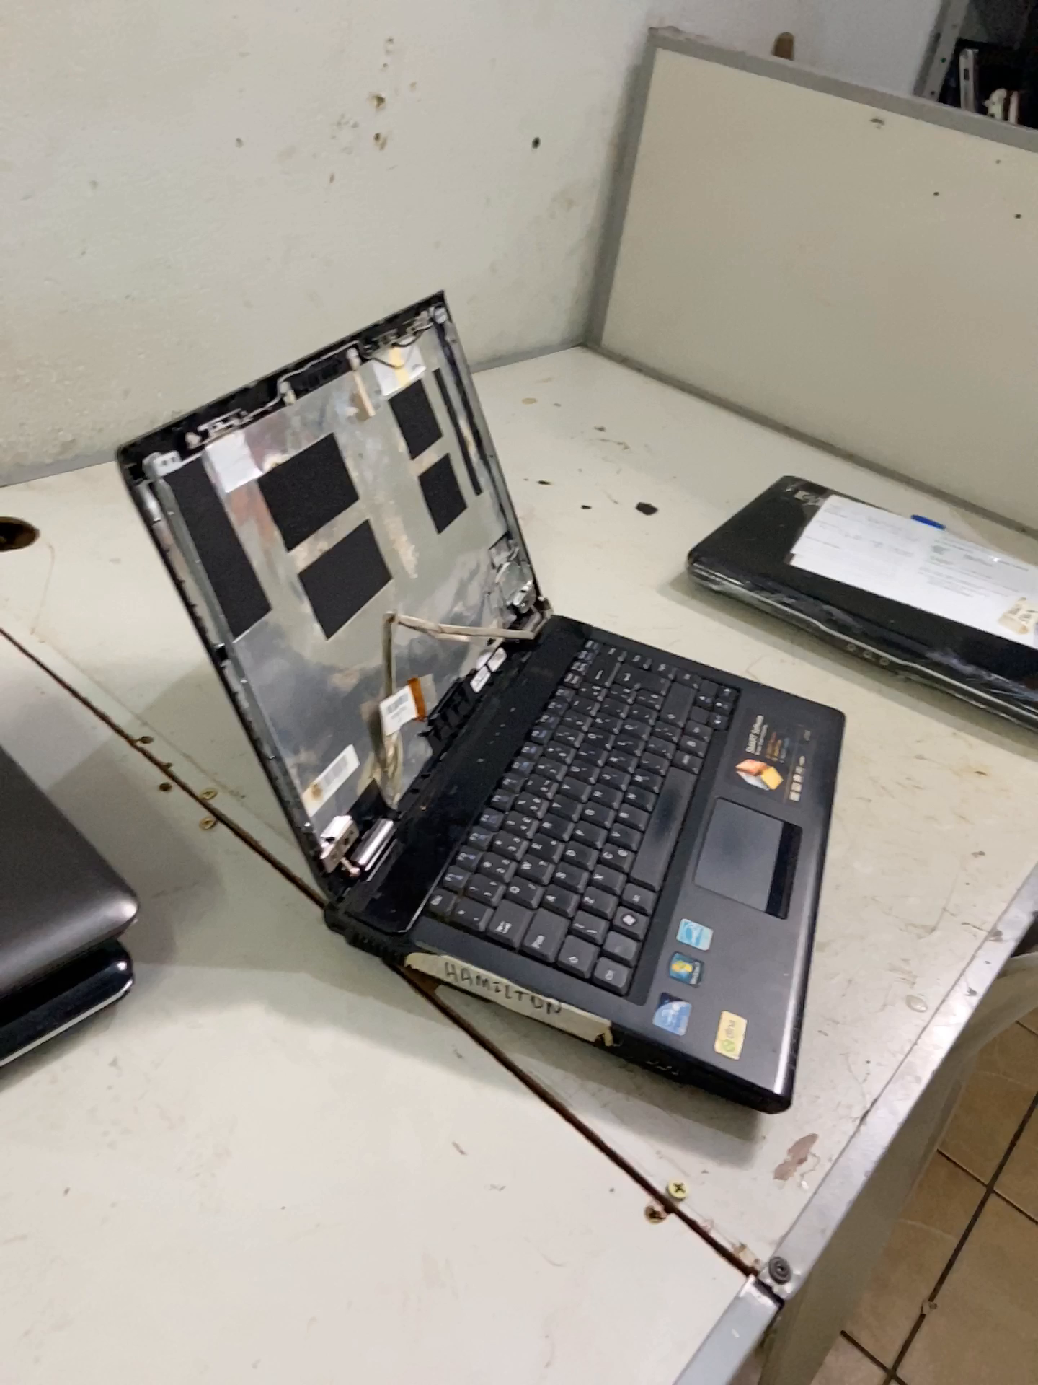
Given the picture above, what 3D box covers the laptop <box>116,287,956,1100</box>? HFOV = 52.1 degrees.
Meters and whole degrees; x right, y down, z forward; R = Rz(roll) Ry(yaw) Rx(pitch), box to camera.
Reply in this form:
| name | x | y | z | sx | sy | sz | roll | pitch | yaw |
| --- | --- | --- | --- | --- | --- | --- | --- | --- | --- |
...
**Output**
| name | x | y | z | sx | sy | sz | roll | pitch | yaw |
| --- | --- | --- | --- | --- | --- | --- | --- | --- | --- |
| laptop | 0.034 | -0.040 | 0.585 | 0.335 | 0.205 | 0.335 | 19 | 36 | 11 |
